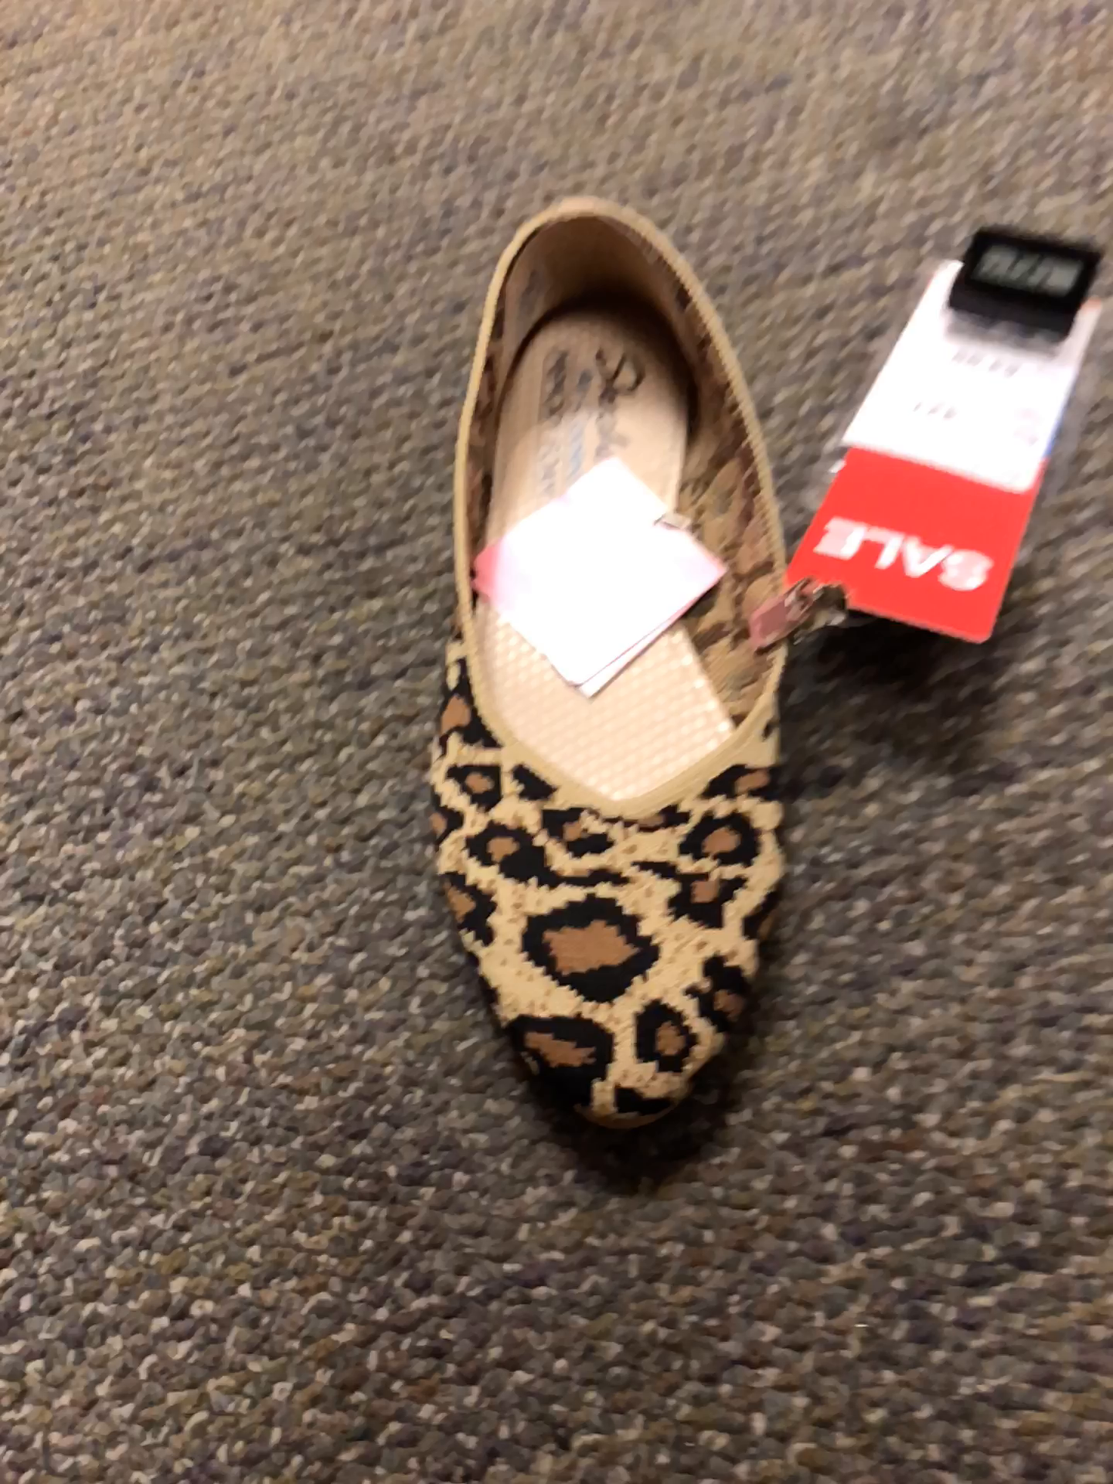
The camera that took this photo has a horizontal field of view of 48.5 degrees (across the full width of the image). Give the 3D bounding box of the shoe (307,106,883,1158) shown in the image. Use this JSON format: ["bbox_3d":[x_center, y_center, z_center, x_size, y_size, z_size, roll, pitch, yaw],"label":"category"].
[{"bbox_3d":[0.006,-0.034,0.319,0.105,0.085,0.254,-5,63,5],"label":"shoe"}]
